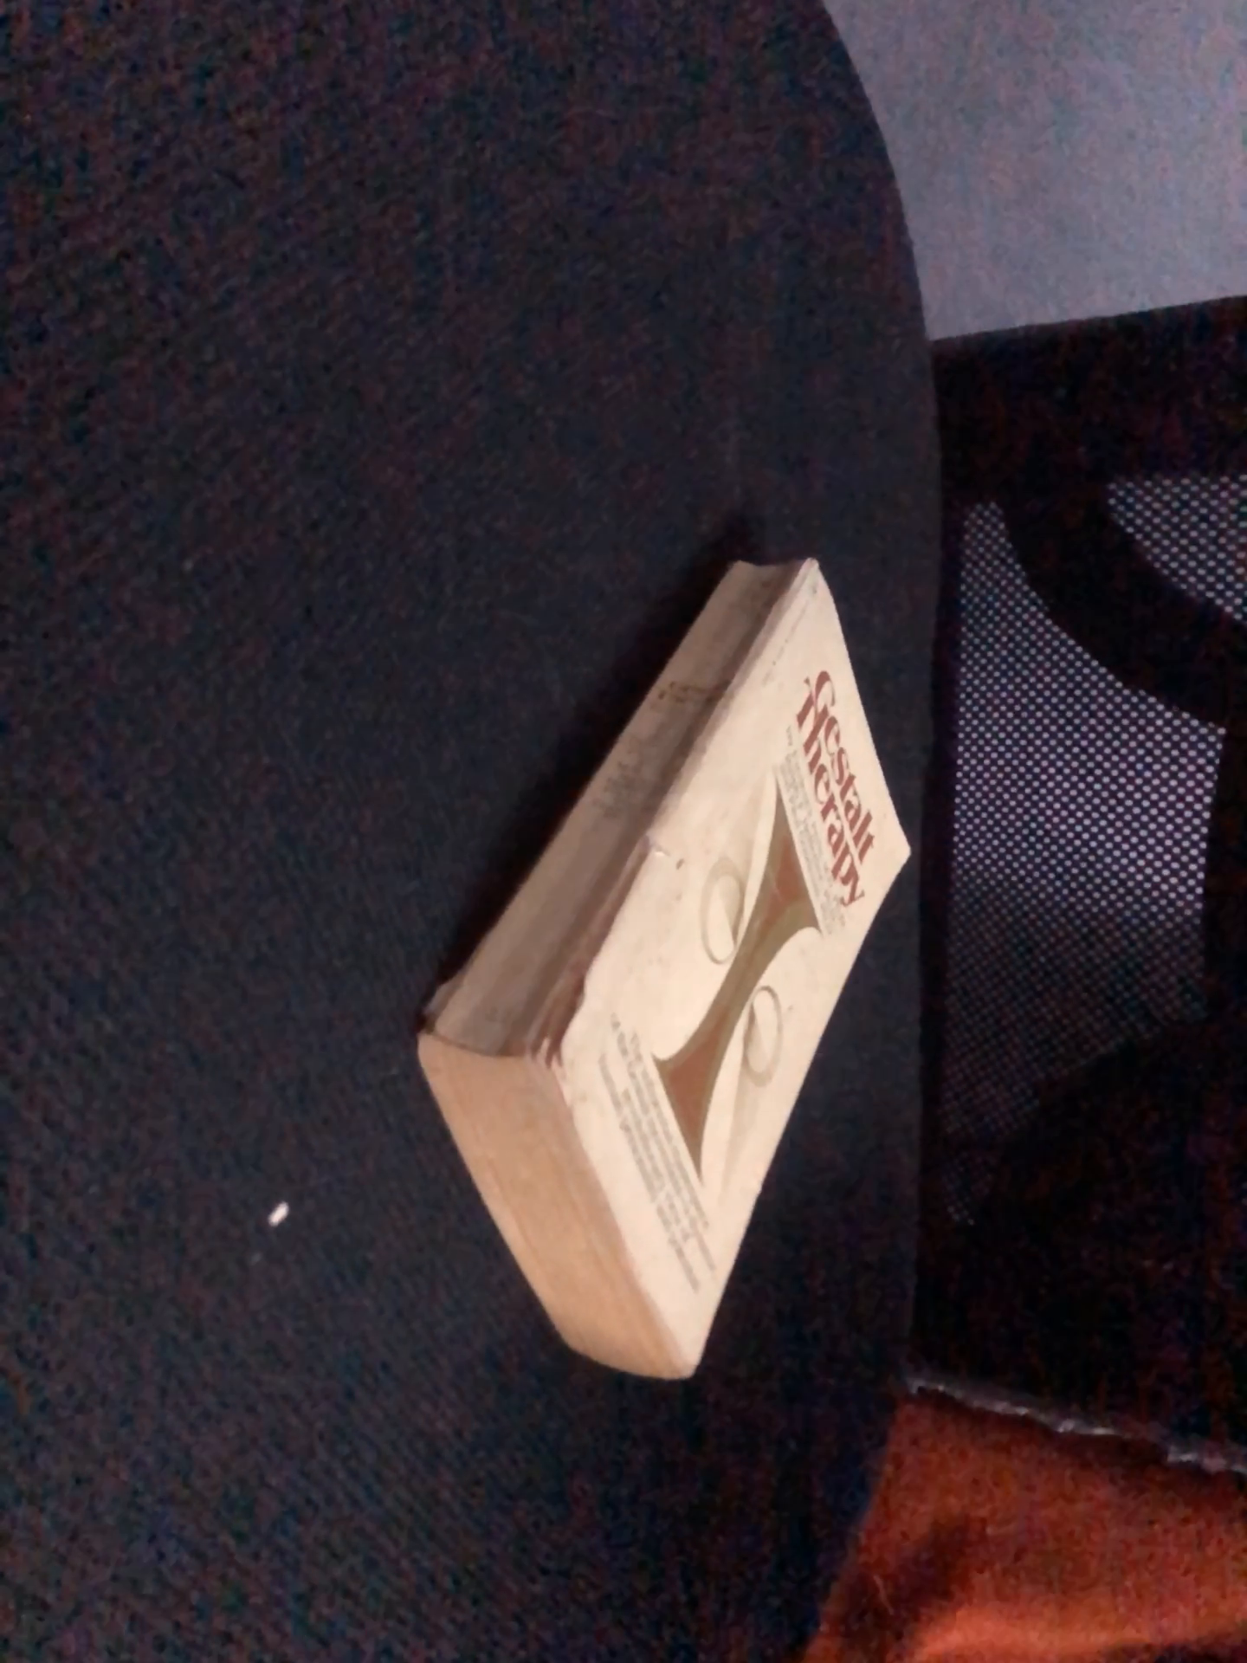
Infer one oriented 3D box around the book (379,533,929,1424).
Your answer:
[{"bbox_3d":[0.025,0.026,0.339,0.183,0.034,0.120,-59,137,-42],"label":"book"}]
